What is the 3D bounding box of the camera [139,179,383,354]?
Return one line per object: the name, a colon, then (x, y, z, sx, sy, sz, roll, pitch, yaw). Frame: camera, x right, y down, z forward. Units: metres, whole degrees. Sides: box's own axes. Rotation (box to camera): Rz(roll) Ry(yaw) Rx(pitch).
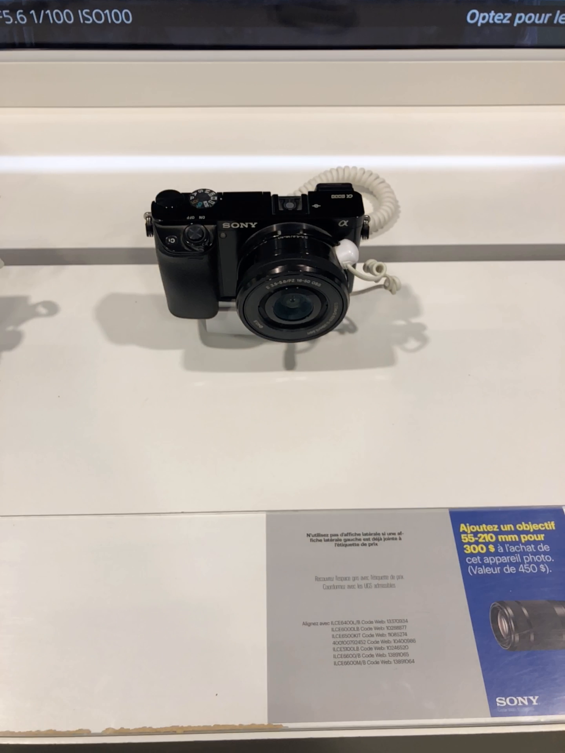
camera: (-0.012, -0.066, 0.385, 0.130, 0.077, 0.065, -3, 52, -1)
